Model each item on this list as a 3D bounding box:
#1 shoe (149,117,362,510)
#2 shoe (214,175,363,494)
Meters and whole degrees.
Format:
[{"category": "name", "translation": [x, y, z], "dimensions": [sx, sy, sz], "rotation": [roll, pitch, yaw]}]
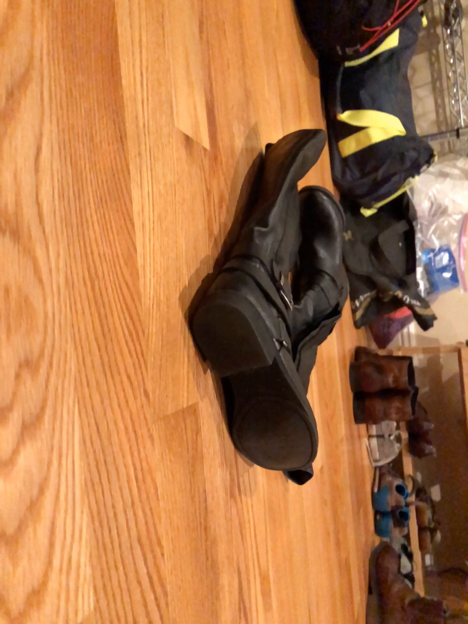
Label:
[{"category": "shoe", "translation": [0.070, -0.027, 0.627], "dimensions": [0.405, 0.104, 0.290], "rotation": [-66, 144, -52]}, {"category": "shoe", "translation": [0.104, 0.004, 0.709], "dimensions": [0.395, 0.094, 0.250], "rotation": [-66, 145, -54]}]
